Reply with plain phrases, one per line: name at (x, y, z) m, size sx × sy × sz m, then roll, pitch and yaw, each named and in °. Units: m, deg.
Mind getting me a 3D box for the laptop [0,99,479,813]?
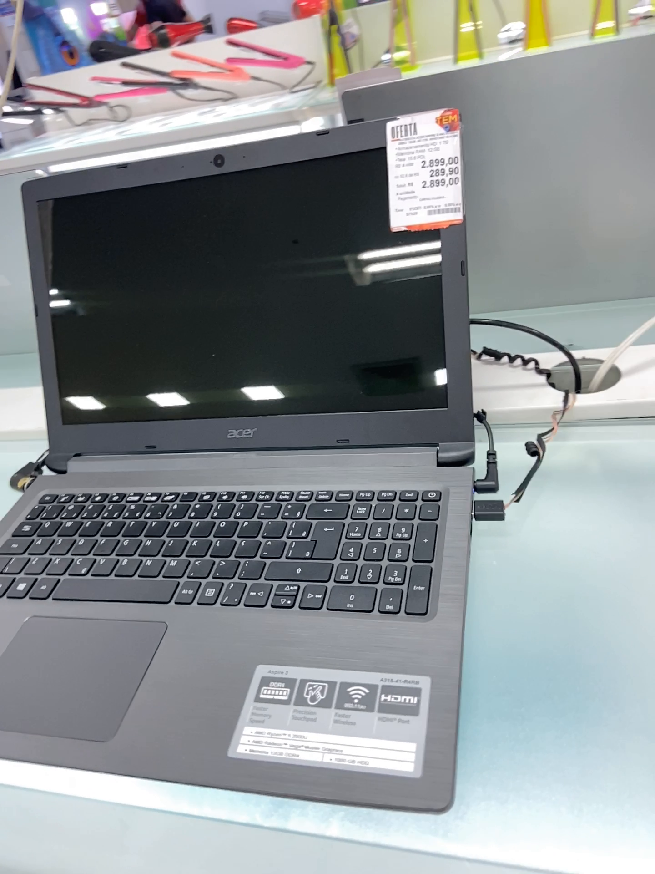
laptop at (-0.097, -0.029, 0.407) m, size 0.341 × 0.194 × 0.355 m, roll -2°, pitch 36°, yaw 18°
